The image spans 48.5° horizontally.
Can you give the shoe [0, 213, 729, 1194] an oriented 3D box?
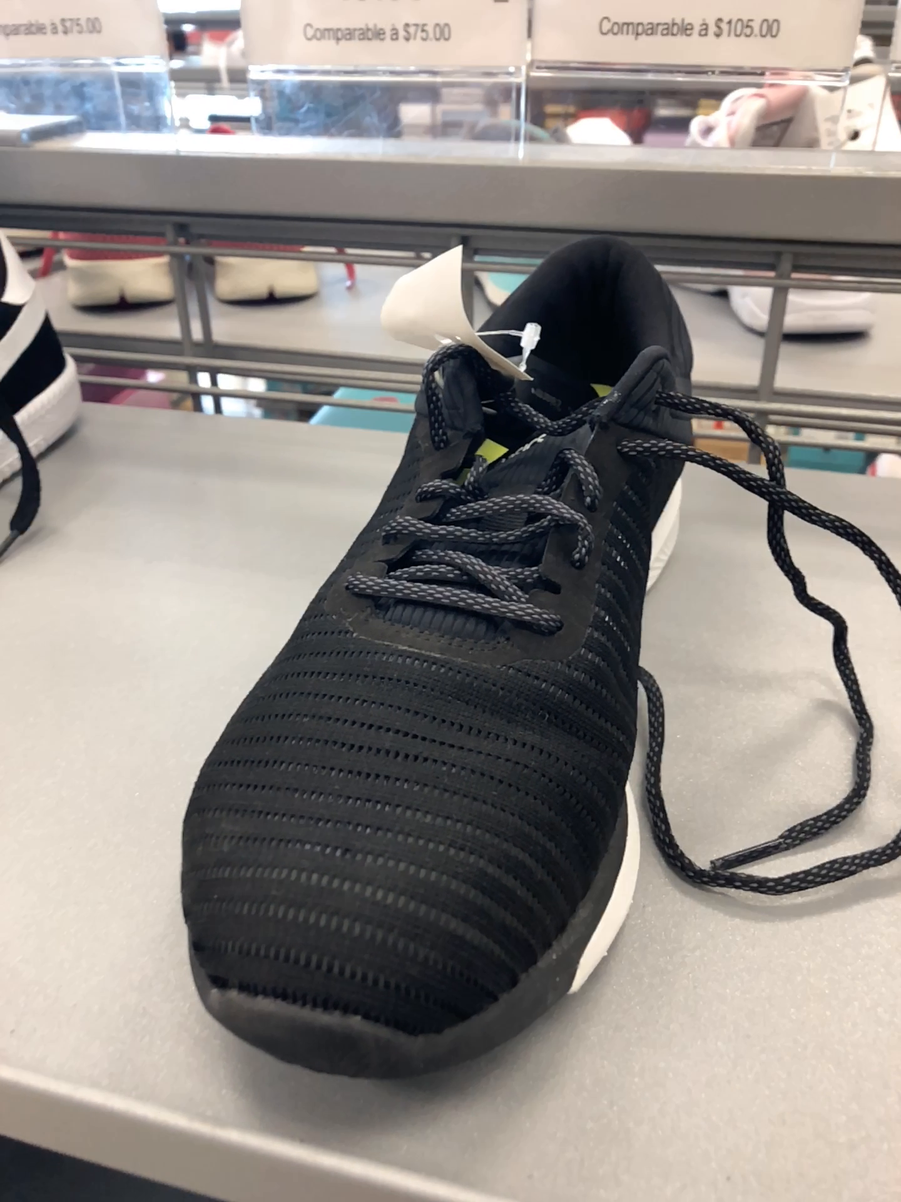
[{"bbox_3d":[0.010,-0.022,0.299,0.120,0.119,0.302,7,32,13],"label":"shoe"}]
